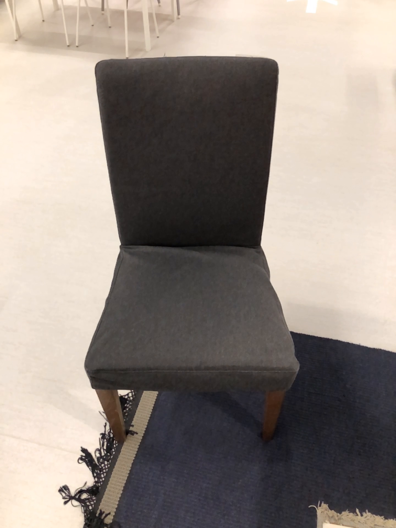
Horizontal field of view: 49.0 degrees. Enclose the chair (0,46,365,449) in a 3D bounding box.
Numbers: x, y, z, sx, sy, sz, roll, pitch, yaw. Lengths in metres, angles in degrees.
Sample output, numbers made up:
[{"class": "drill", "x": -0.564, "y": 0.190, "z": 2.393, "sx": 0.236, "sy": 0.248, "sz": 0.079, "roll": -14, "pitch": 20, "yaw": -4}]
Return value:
[{"class": "chair", "x": -0.023, "y": 0.030, "z": 1.164, "sx": 0.540, "sy": 0.964, "sz": 0.554, "roll": 0, "pitch": 47, "yaw": 1}]
